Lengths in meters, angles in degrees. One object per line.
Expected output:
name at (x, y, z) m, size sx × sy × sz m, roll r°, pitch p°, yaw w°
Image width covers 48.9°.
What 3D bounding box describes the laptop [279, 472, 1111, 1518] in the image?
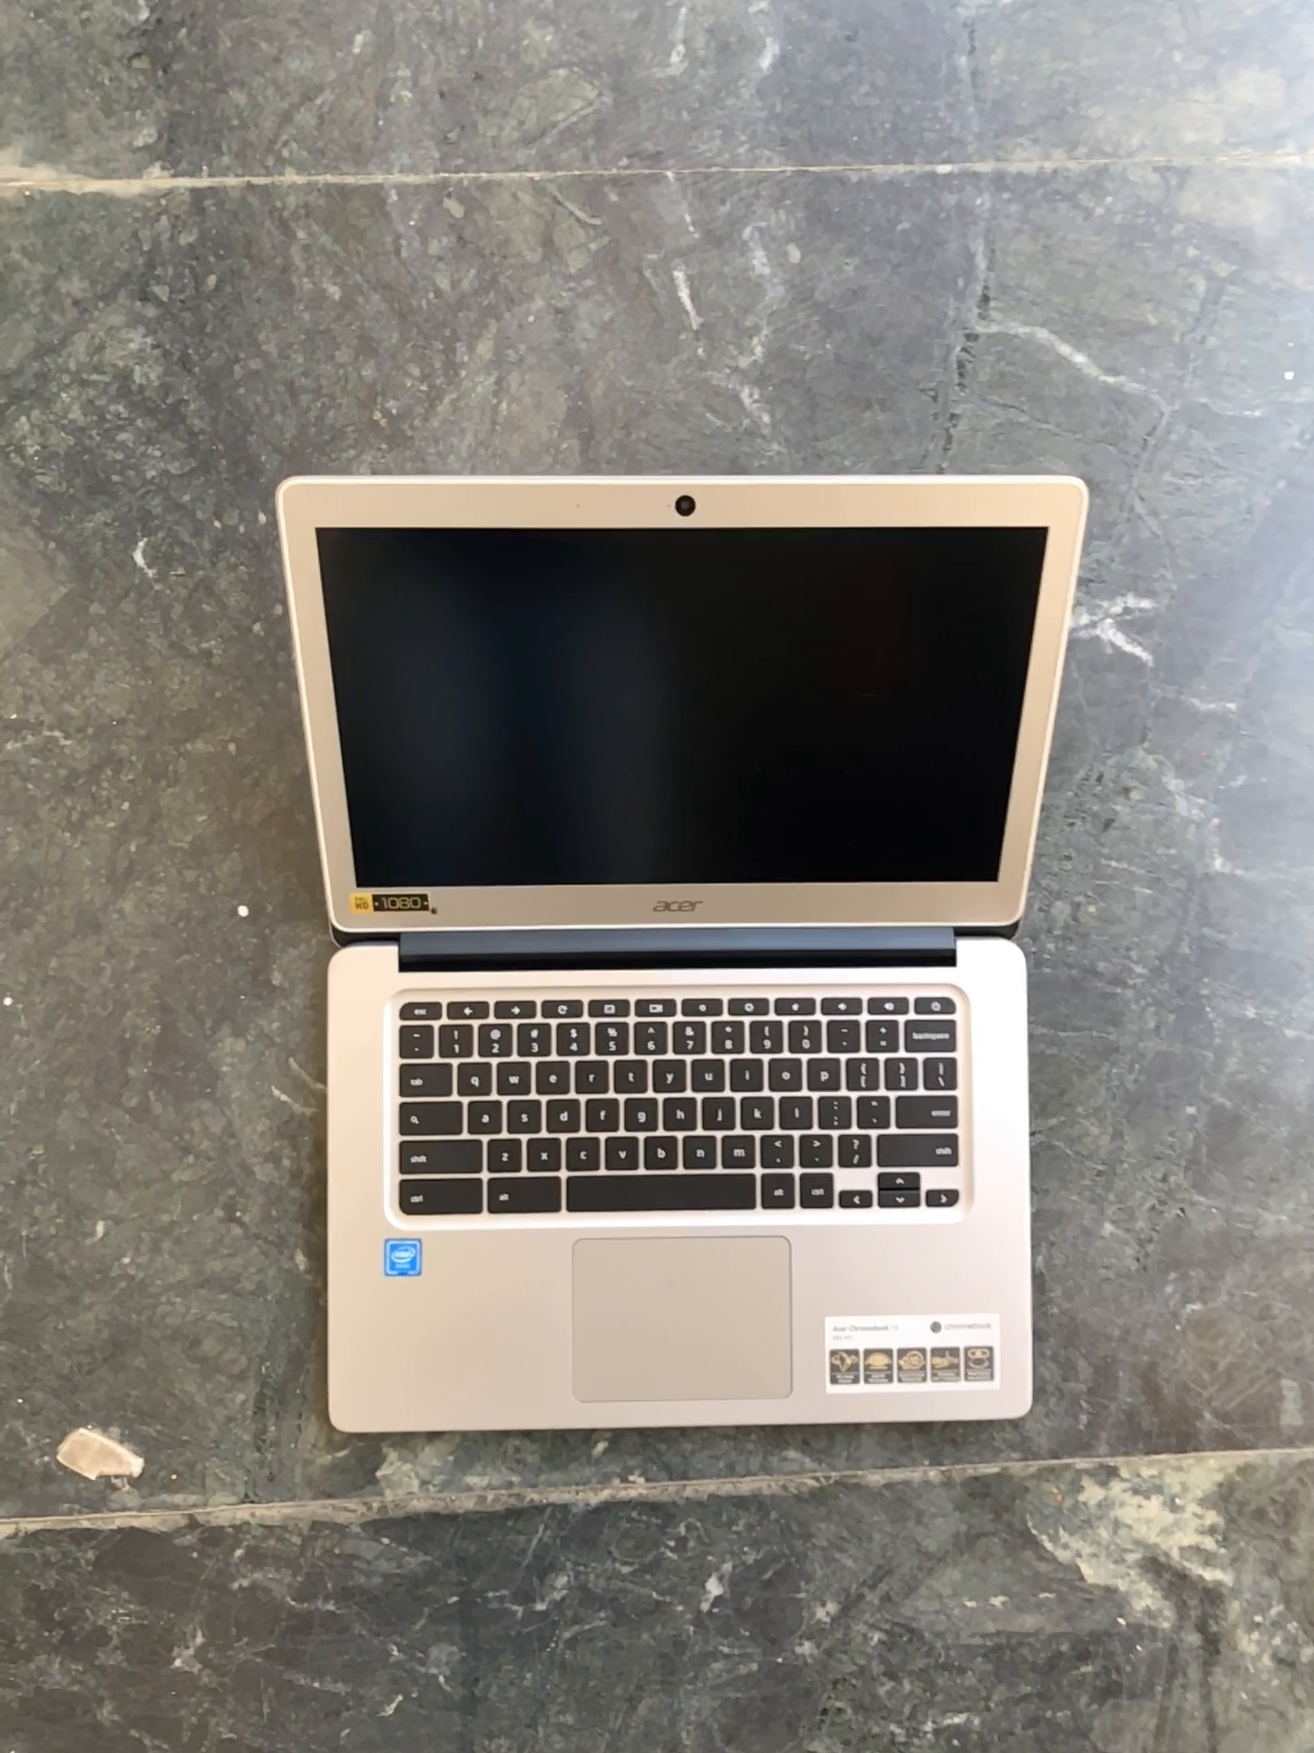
laptop at (0.014, 0.047, 0.651) m, size 0.338 × 0.117 × 0.423 m, roll -1°, pitch 88°, yaw -2°
